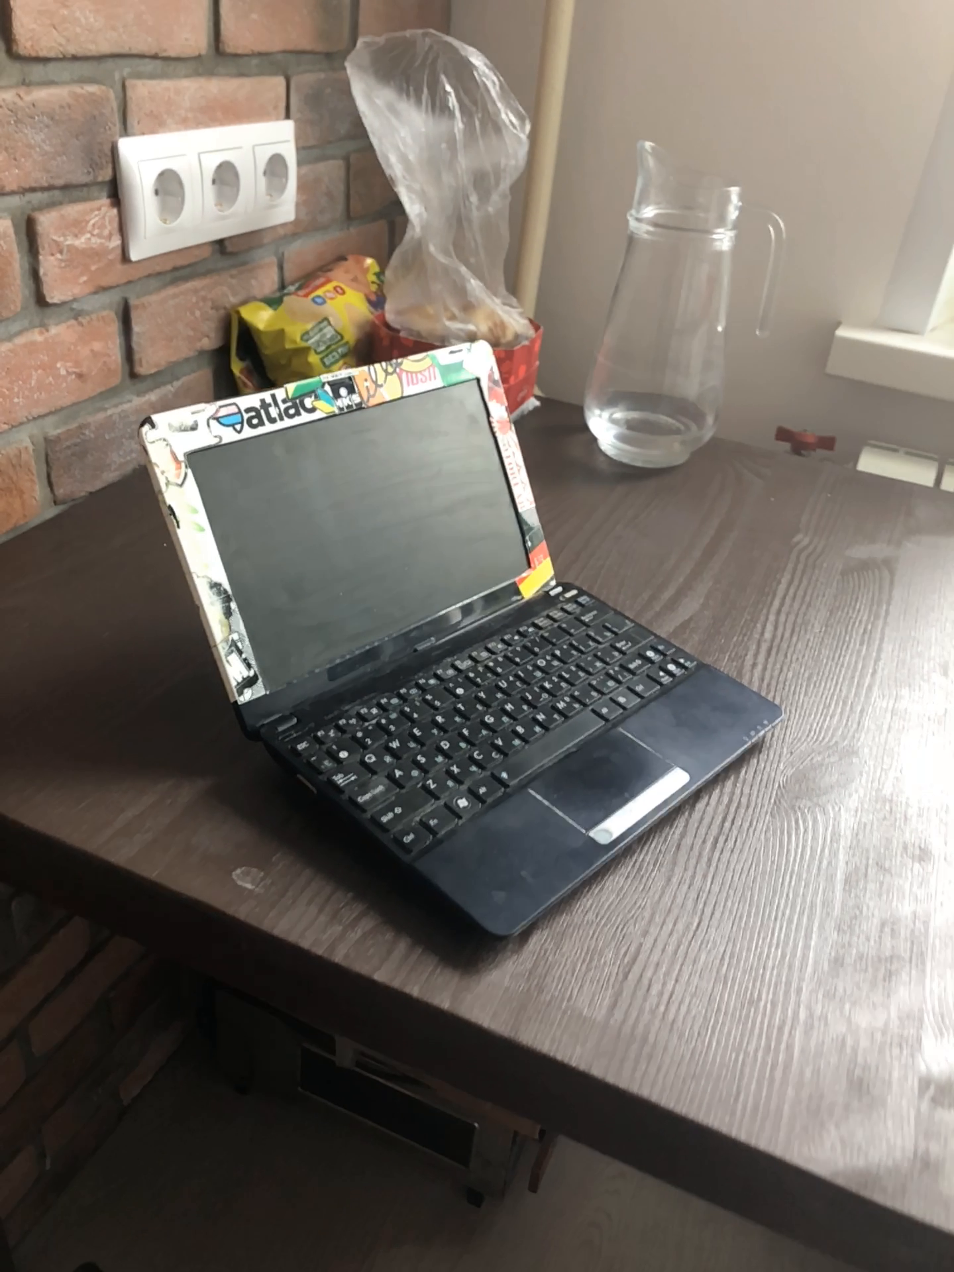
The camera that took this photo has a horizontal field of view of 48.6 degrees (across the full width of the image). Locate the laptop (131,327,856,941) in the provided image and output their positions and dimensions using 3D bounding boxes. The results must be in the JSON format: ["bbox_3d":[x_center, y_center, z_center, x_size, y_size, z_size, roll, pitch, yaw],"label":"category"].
[{"bbox_3d":[0.007,-0.036,0.564,0.268,0.139,0.258,32,39,32],"label":"laptop"}]
